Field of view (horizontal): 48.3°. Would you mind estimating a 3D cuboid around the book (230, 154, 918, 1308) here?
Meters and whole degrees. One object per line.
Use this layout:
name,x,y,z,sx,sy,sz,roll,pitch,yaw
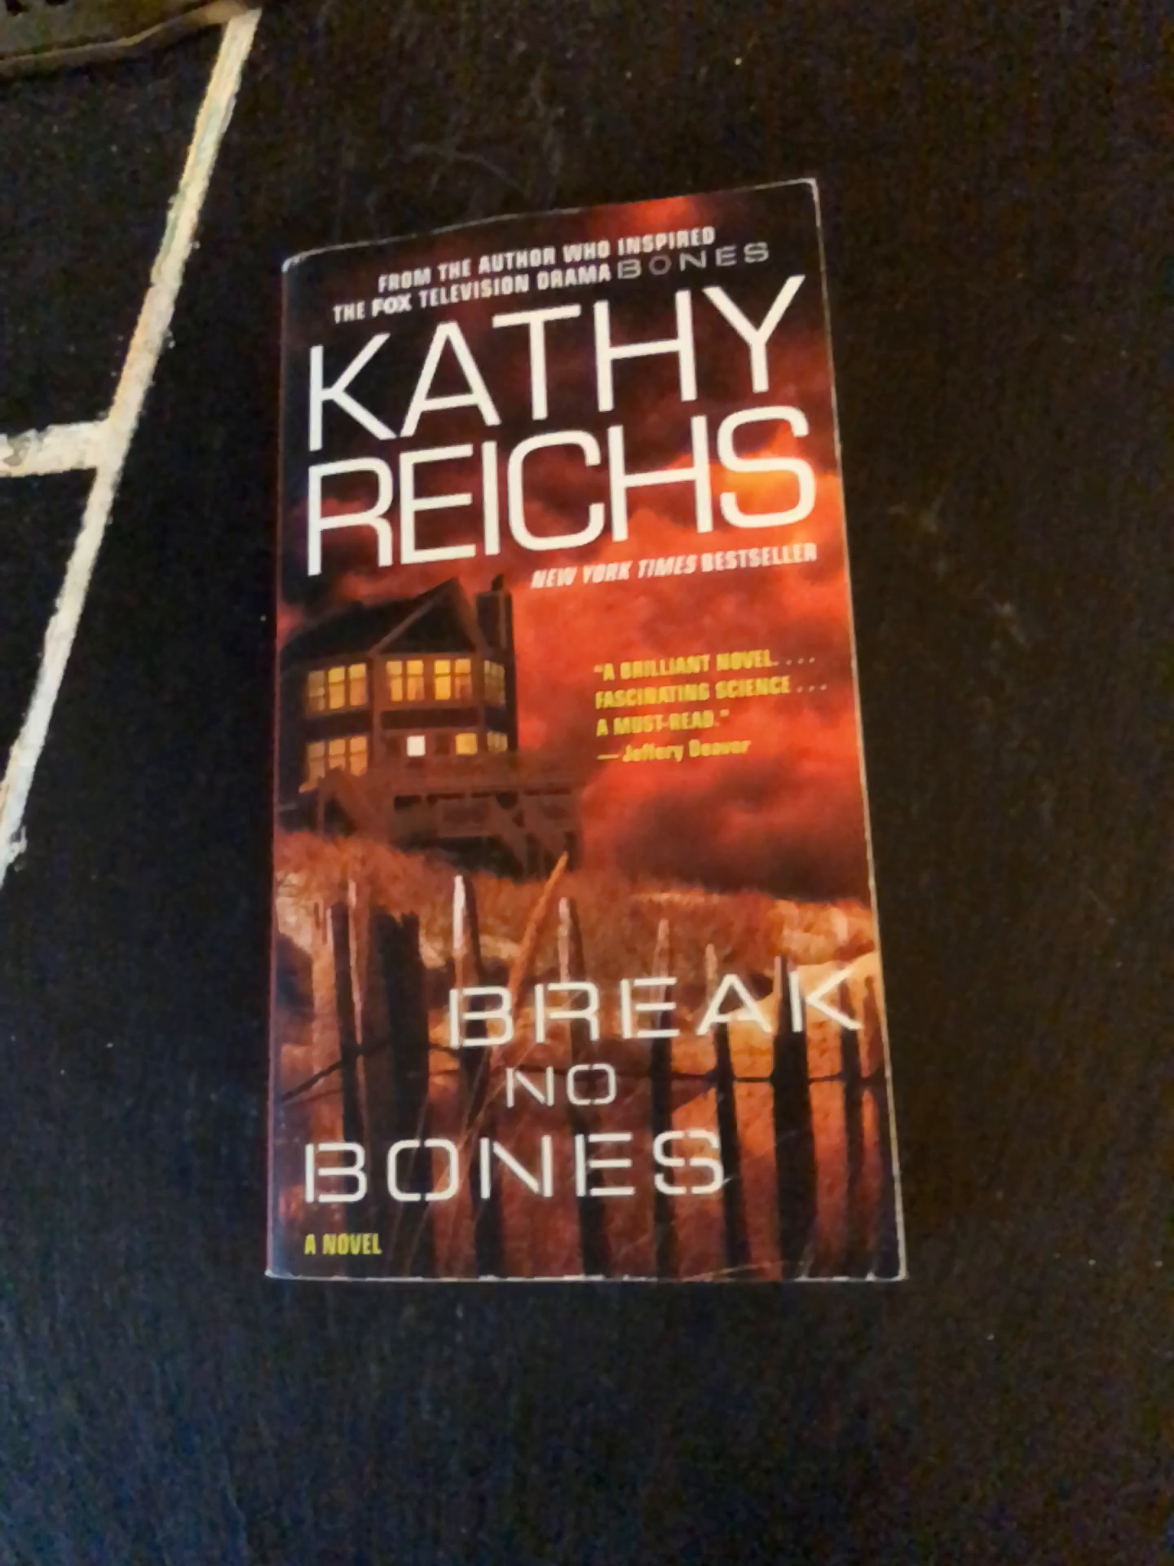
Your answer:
book,-0.005,-0.010,0.233,0.108,0.030,0.189,-4,79,10
